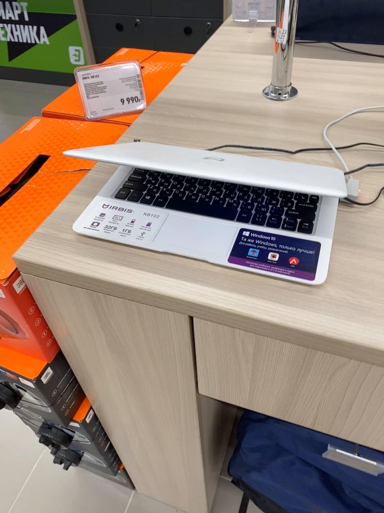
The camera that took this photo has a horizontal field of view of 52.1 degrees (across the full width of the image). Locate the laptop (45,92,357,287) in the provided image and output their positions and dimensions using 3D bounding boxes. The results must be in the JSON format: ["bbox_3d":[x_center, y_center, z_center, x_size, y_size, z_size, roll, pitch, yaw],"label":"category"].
[{"bbox_3d":[0.018,-0.090,0.432,0.280,0.078,0.179,12,48,16],"label":"laptop"}]
